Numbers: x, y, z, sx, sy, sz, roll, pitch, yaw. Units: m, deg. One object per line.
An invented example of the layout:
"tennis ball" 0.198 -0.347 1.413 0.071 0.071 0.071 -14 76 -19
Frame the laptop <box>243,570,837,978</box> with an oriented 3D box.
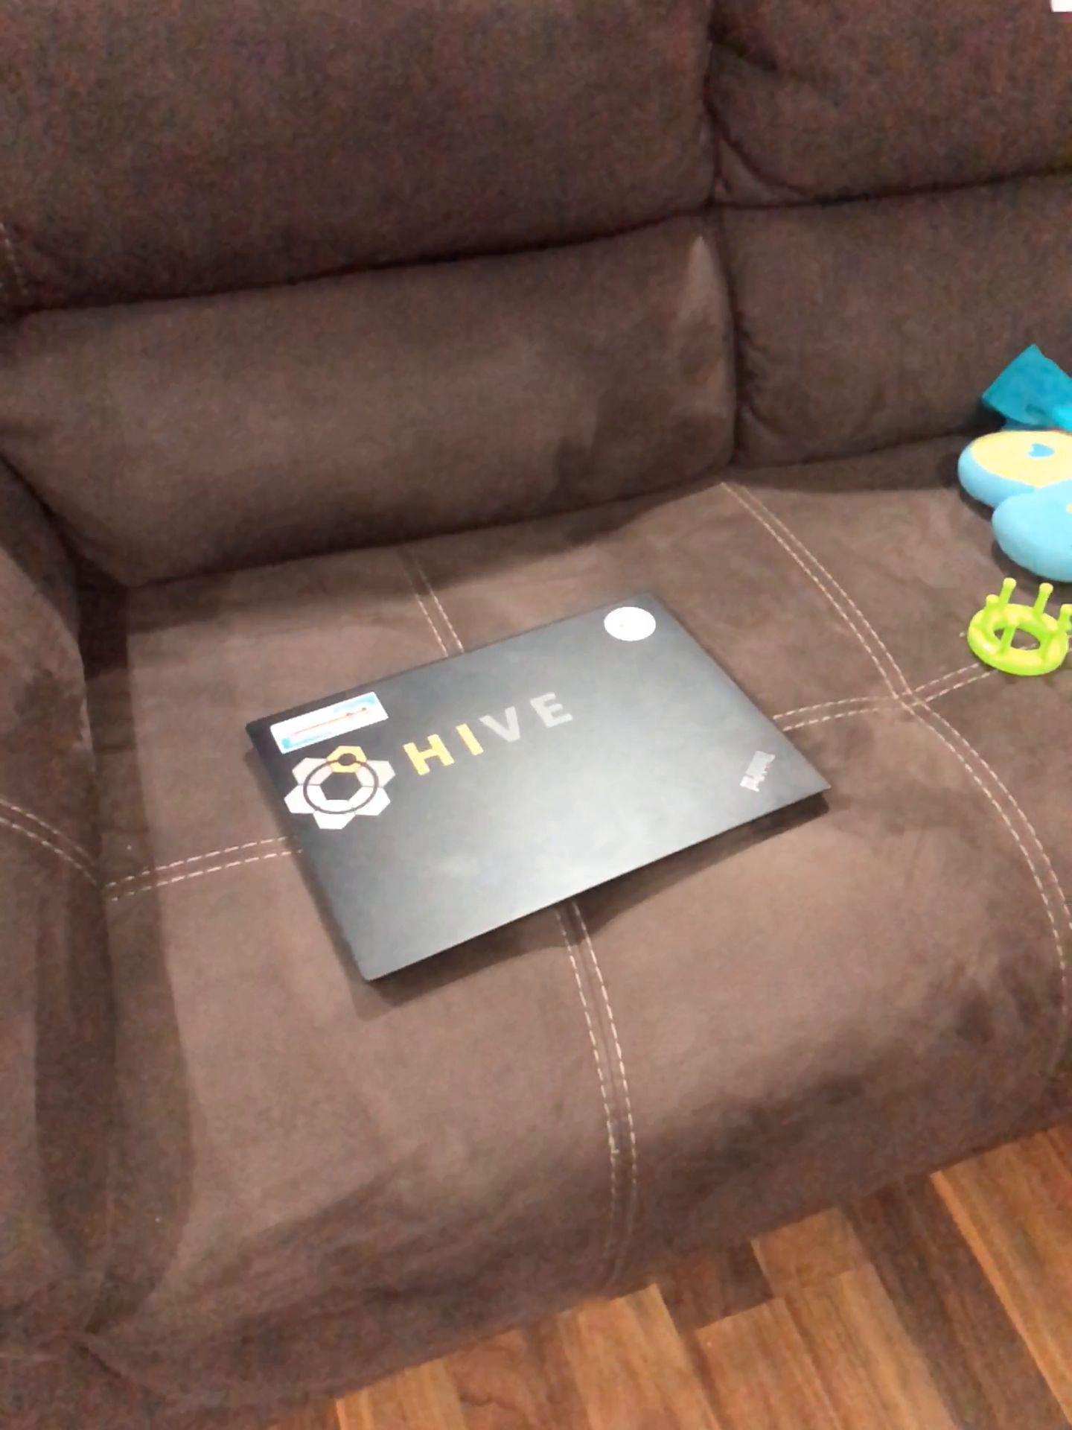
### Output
"laptop" -0.005 0.020 0.800 0.328 0.019 0.236 -20 47 -17
